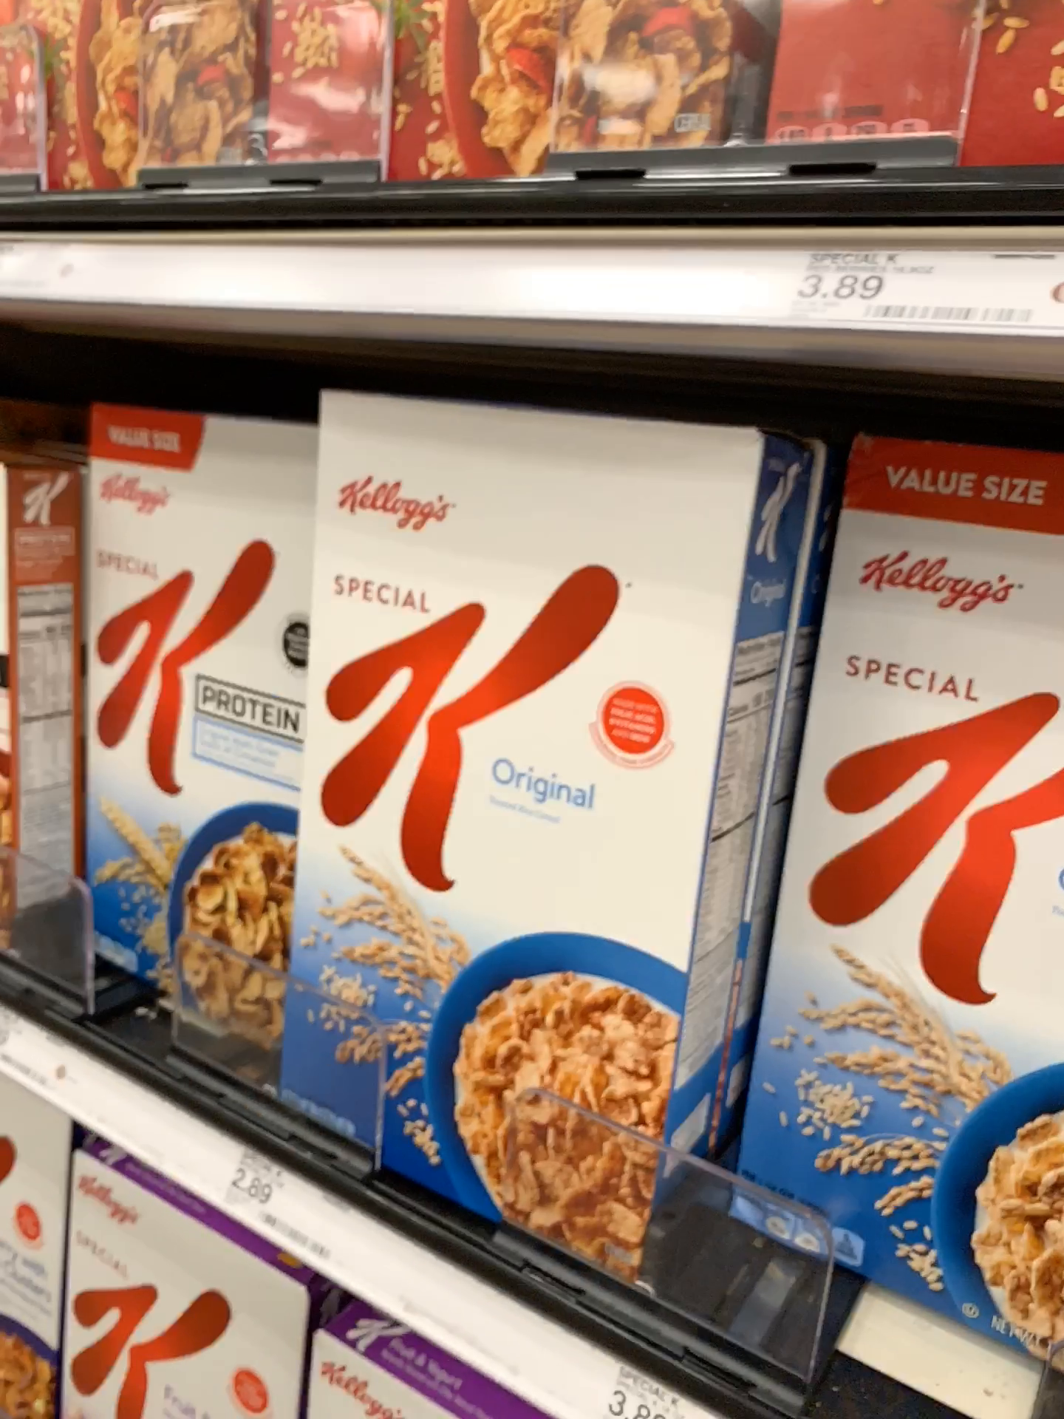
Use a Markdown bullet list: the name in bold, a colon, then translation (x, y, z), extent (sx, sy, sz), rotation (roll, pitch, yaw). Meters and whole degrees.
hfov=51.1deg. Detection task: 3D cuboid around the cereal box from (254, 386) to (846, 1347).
- **cereal box**: translation (-0.007, 0.049, 0.435), extent (0.190, 0.319, 0.060), rotation (14, 14, 29)
